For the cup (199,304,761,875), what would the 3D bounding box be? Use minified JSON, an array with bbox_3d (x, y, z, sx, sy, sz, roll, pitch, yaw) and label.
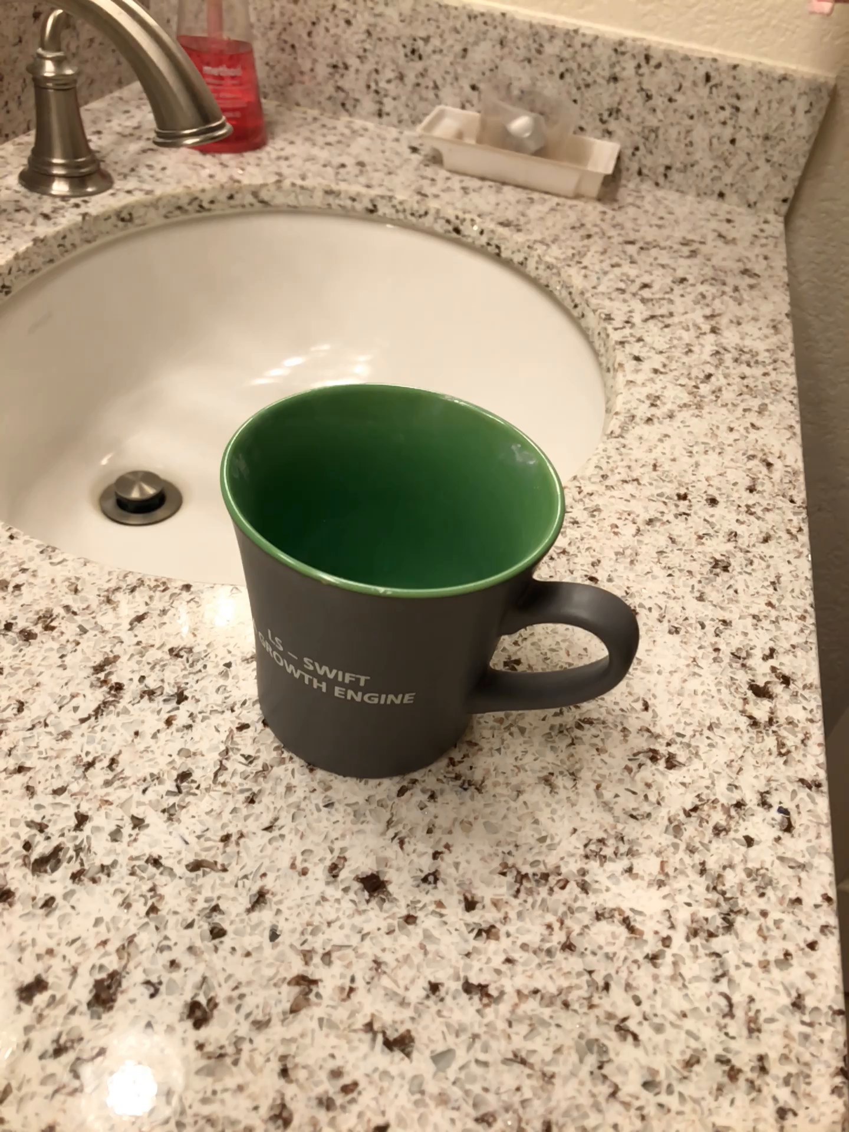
[{"bbox_3d":[0.016,0.003,0.305,0.140,0.109,0.101,20,42,11],"label":"cup"}]
